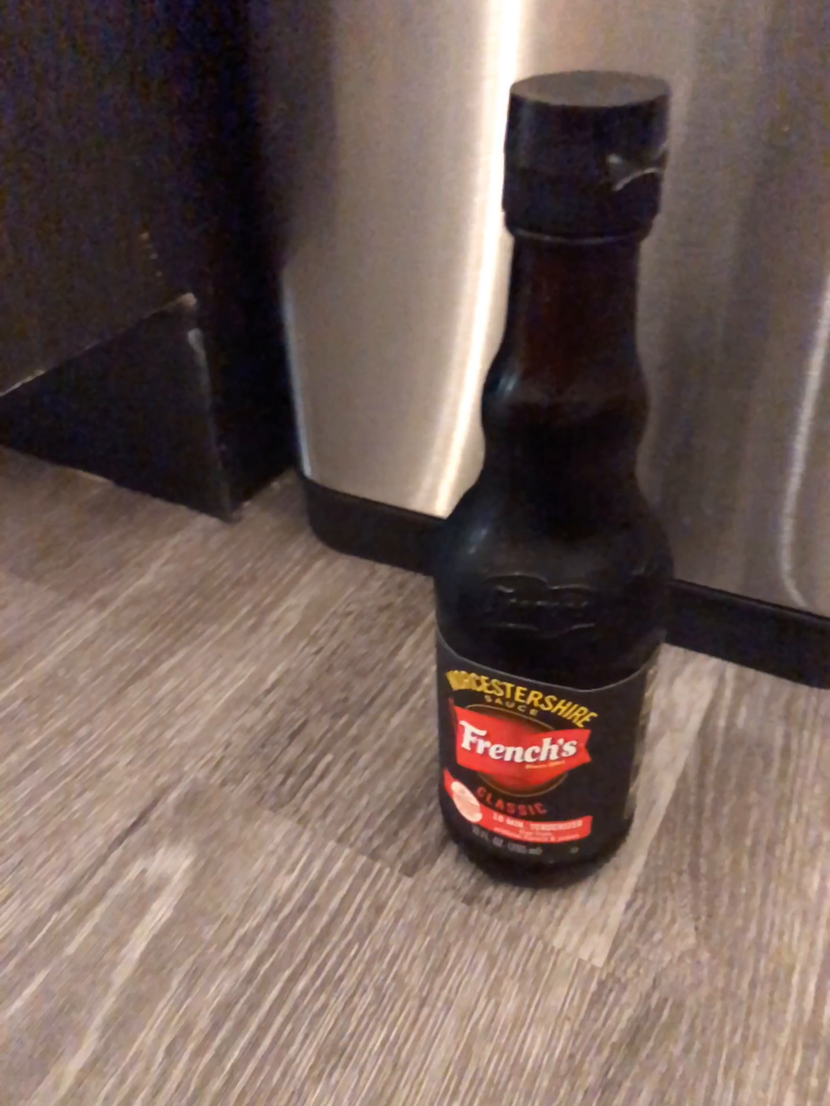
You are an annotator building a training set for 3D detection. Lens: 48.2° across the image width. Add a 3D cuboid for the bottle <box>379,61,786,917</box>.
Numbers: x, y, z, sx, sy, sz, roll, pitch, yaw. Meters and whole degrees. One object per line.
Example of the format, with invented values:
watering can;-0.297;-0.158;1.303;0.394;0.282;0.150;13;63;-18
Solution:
bottle;0.036;-0.003;0.227;0.060;0.199;0.060;-1;37;1
